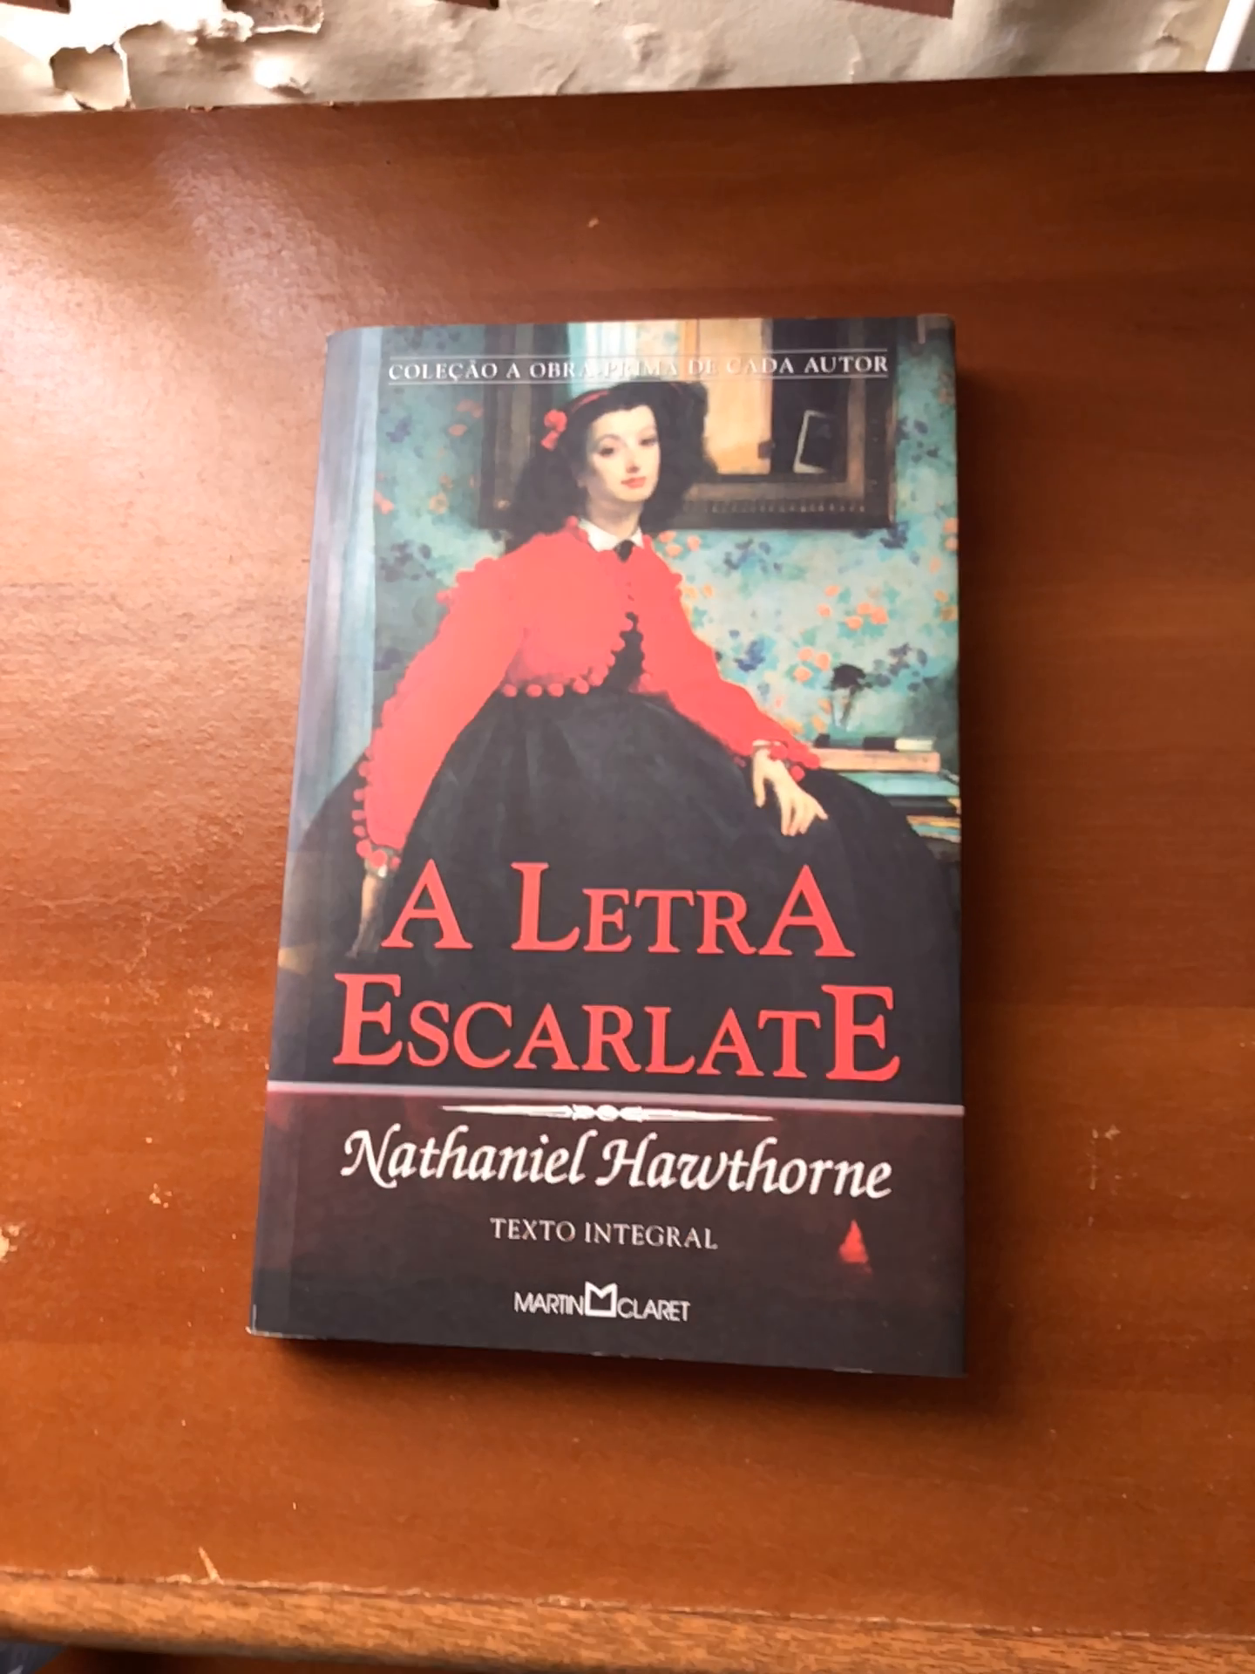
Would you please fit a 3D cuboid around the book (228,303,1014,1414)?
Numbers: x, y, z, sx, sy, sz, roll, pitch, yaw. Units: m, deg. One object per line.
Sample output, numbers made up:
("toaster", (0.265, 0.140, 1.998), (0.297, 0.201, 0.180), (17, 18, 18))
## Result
("book", (0.002, -0.003, 0.220), (0.111, 0.015, 0.166), (1, 79, 8))
